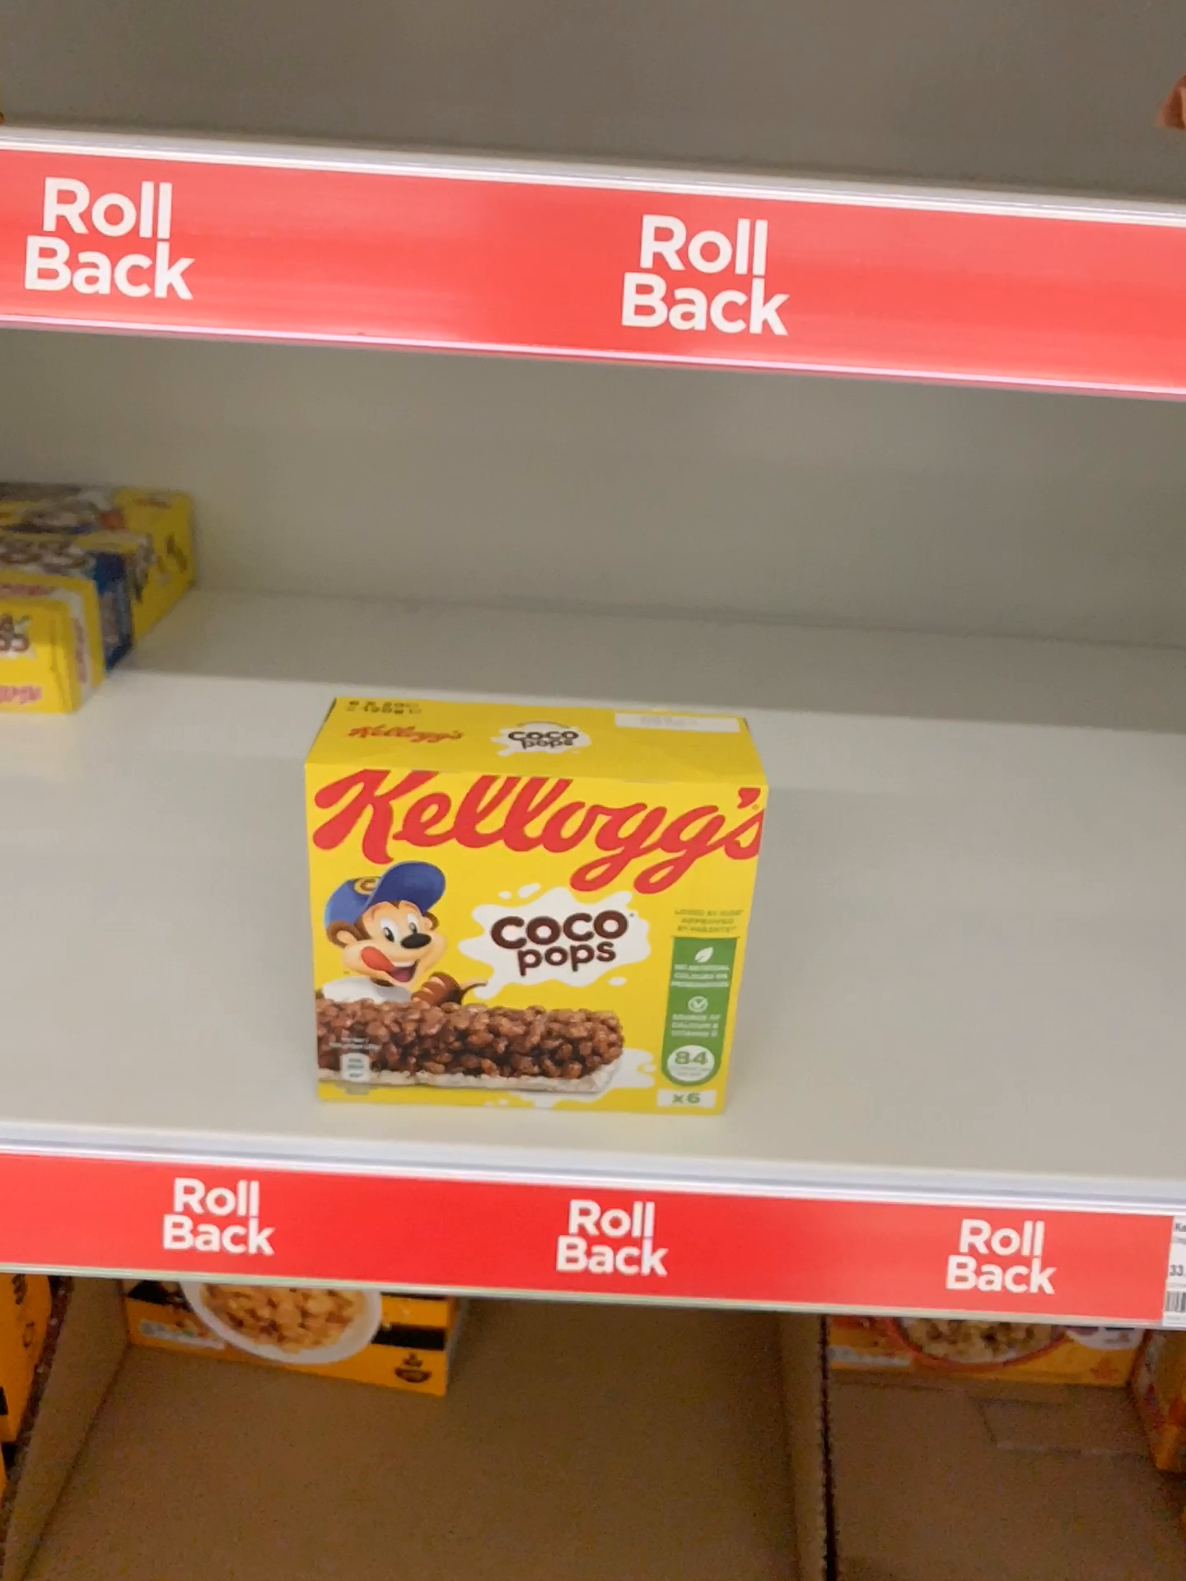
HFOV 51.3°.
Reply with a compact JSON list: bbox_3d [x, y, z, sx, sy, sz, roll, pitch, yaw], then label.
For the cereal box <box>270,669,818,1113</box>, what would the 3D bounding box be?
[{"bbox_3d":[-0.017,0.032,0.391,0.150,0.119,0.061,3,27,-2],"label":"cereal box"}]
